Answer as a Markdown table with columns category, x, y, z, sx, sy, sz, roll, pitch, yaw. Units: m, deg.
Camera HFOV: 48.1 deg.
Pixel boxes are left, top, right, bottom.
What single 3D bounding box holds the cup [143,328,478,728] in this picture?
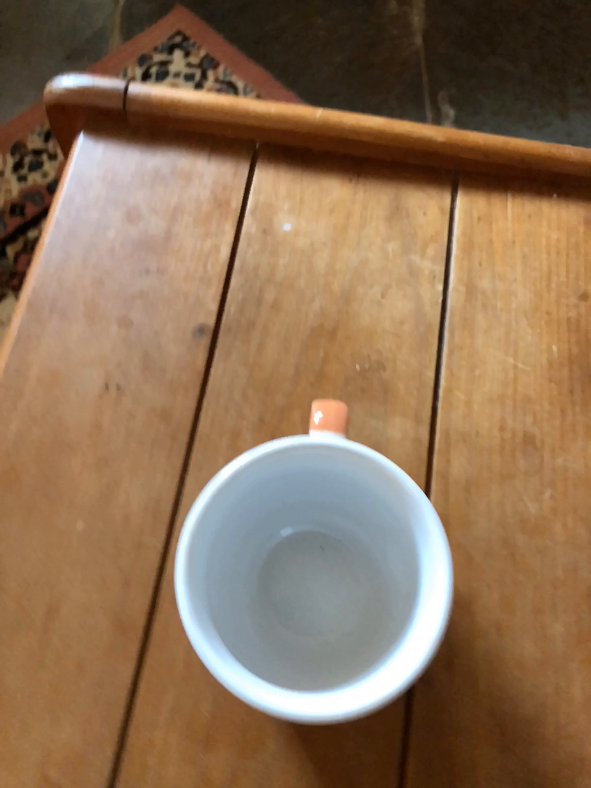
| category | x | y | z | sx | sy | sz | roll | pitch | yaw |
| --- | --- | --- | --- | --- | --- | --- | --- | --- | --- |
| cup | 0.009 | 0.045 | 0.227 | 0.090 | 0.060 | 0.110 | 7 | 69 | 1 |
